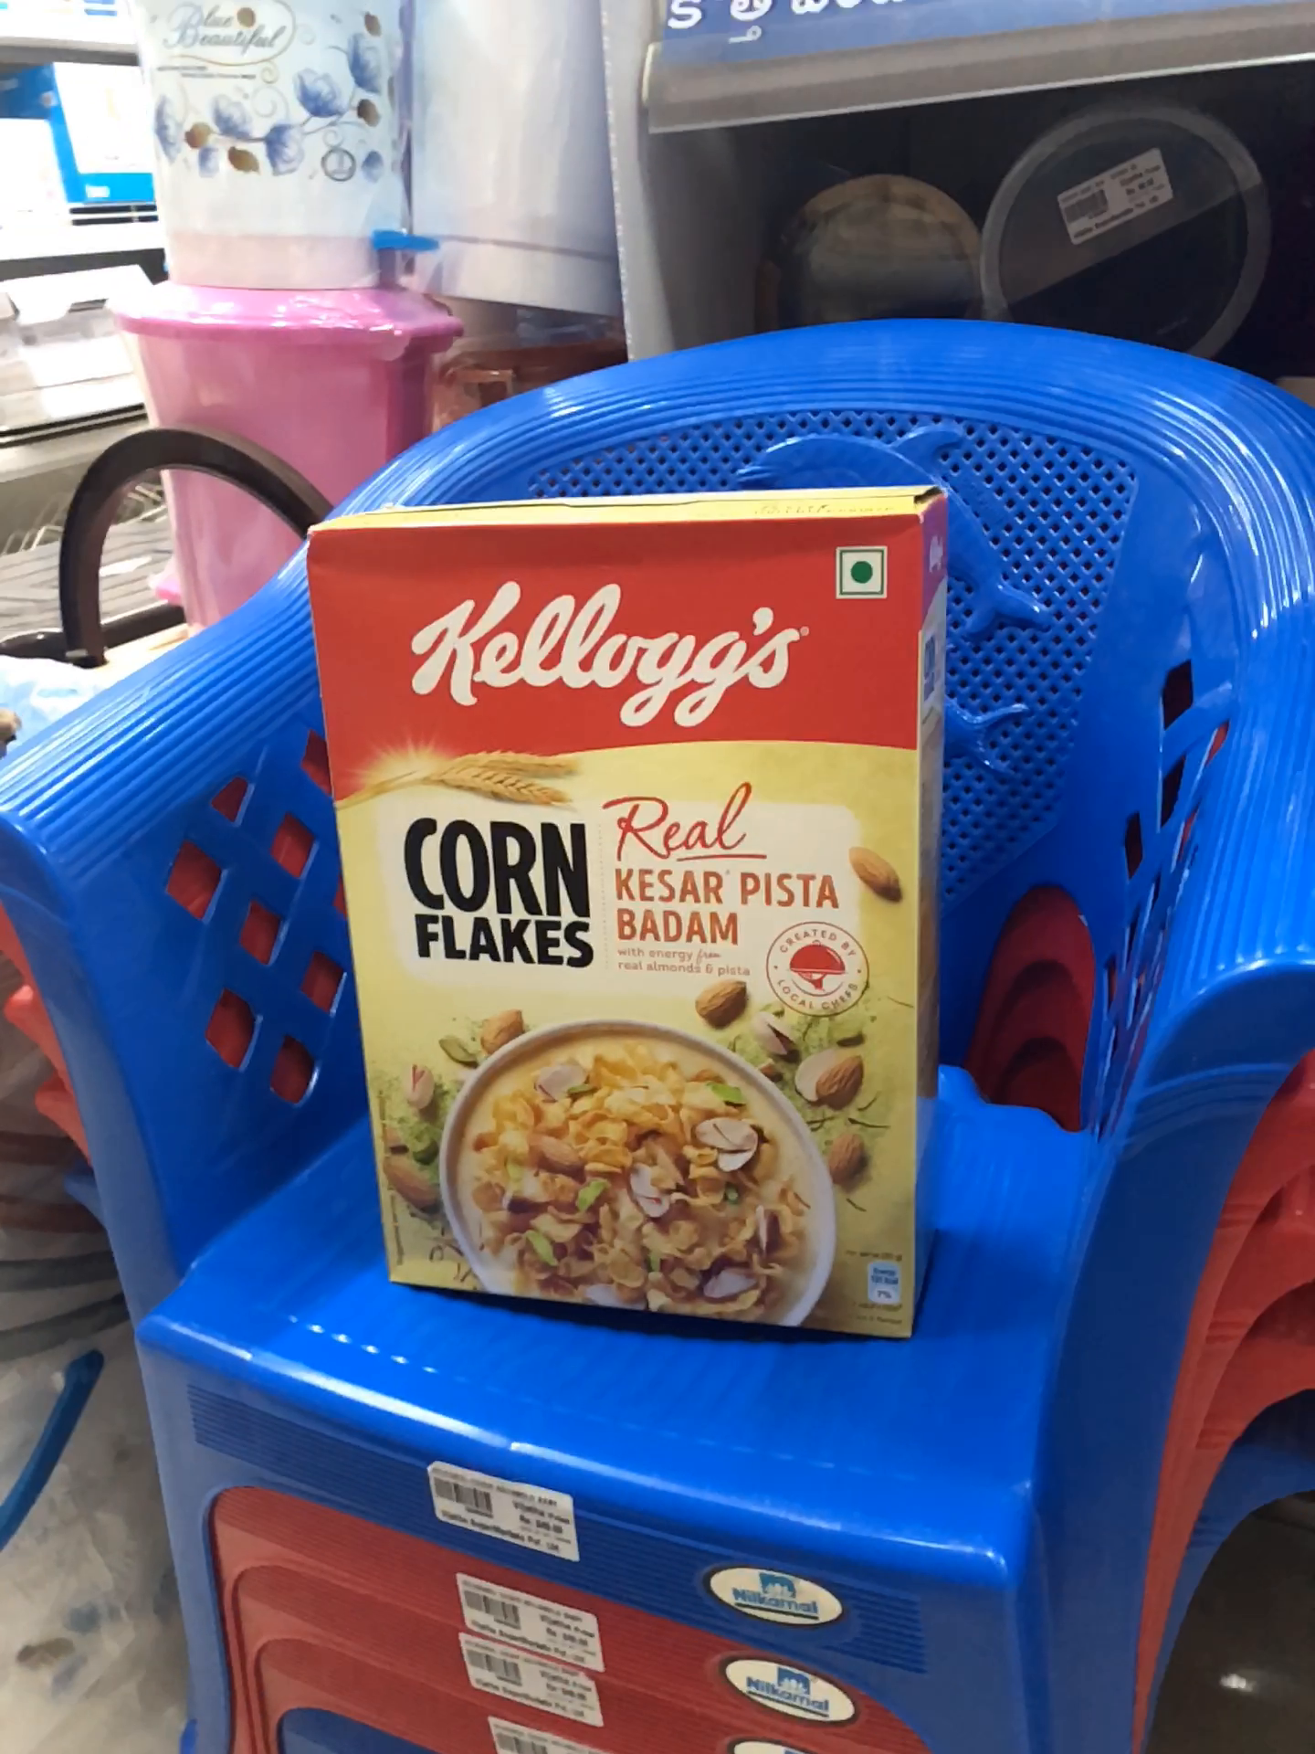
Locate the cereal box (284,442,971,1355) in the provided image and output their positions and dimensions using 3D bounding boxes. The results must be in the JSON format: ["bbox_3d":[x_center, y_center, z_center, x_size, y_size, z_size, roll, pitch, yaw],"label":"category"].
[{"bbox_3d":[0.001,0.007,0.469,0.190,0.269,0.070,1,19,15],"label":"cereal box"}]
